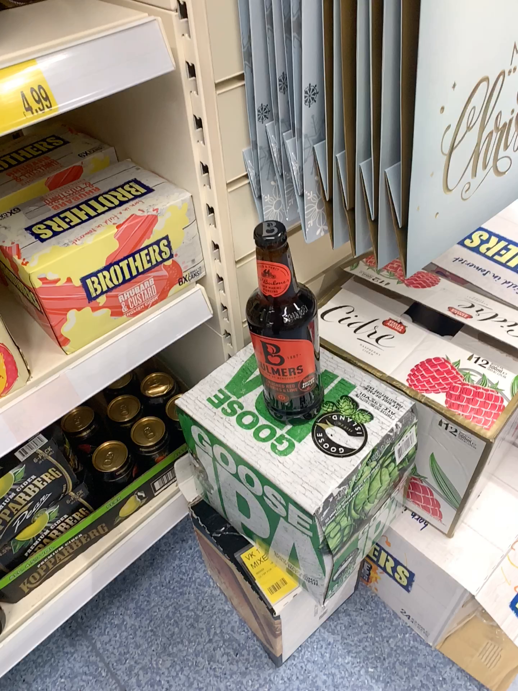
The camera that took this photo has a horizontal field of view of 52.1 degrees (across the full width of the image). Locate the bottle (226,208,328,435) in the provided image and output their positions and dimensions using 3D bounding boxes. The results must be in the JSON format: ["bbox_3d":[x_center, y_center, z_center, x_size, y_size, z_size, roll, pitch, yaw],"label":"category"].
[{"bbox_3d":[0.027,-0.014,0.533,0.070,0.234,0.071,-4,44,4],"label":"bottle"}]
